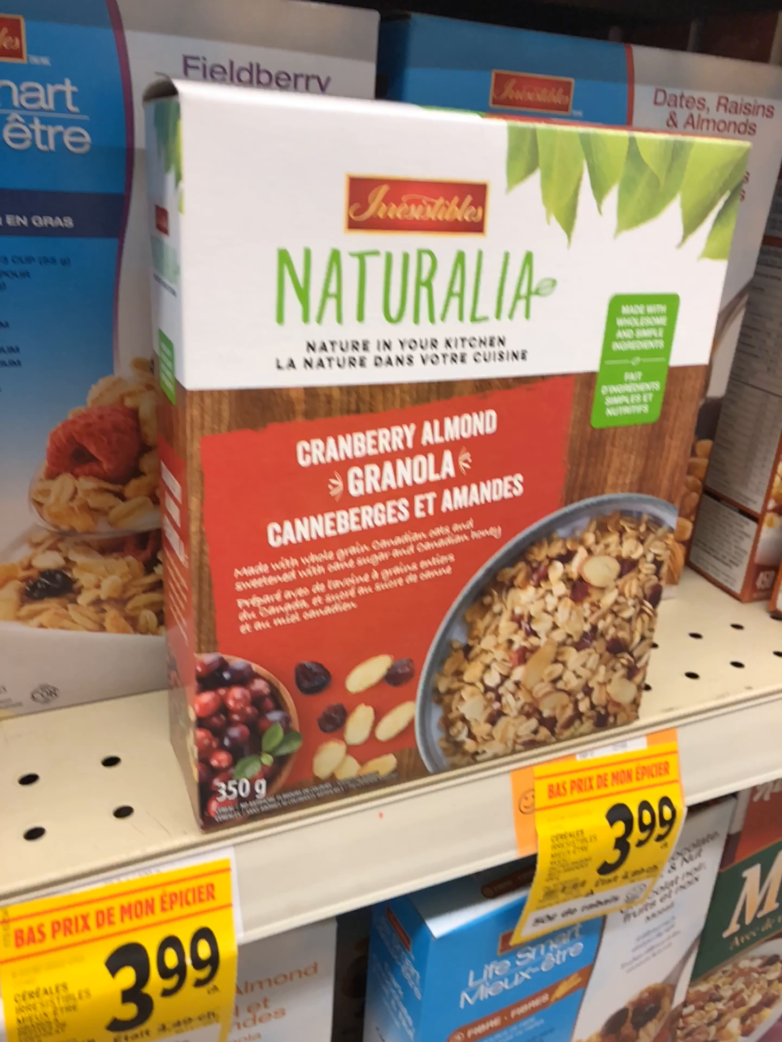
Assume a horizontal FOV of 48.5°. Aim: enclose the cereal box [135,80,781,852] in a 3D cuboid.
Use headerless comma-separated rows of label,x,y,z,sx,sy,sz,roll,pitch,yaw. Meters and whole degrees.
cereal box,0.015,-0.017,0.279,0.170,0.209,0.060,-7,26,-24
